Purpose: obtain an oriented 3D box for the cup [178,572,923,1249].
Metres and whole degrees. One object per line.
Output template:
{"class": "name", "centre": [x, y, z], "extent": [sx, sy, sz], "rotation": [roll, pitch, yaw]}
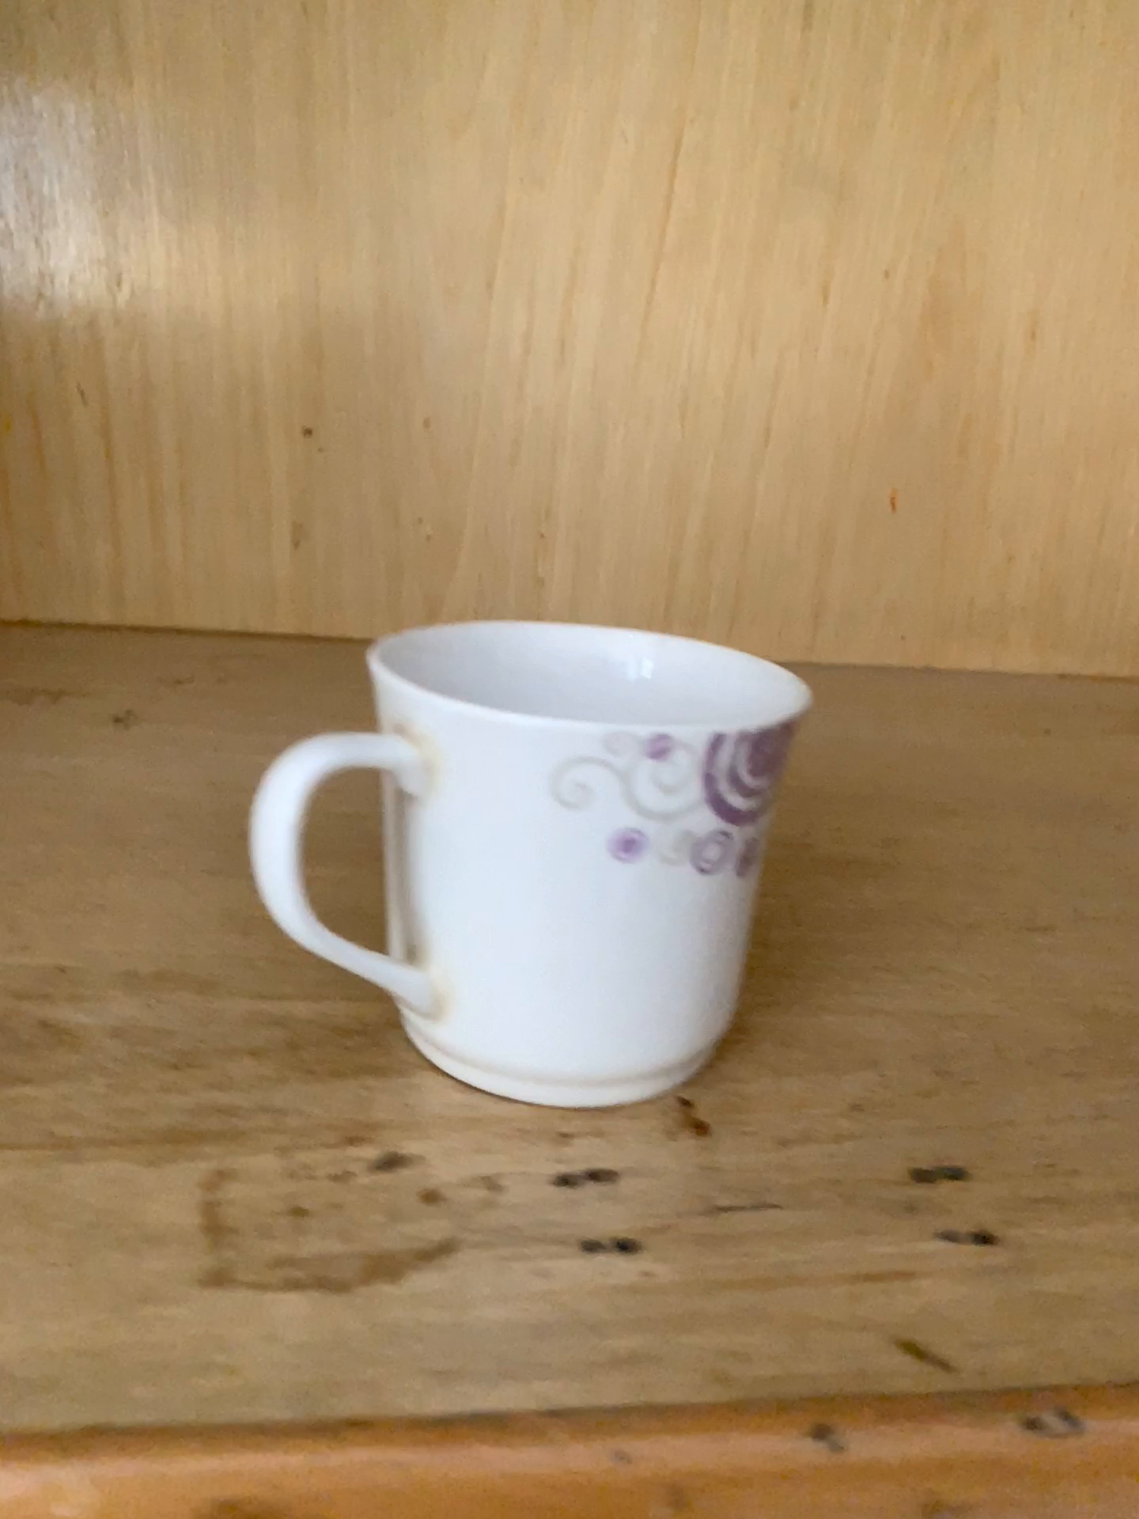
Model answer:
{"class": "cup", "centre": [-0.005, 0.012, 0.191], "extent": [0.090, 0.070, 0.070], "rotation": [-9, 21, -38]}
